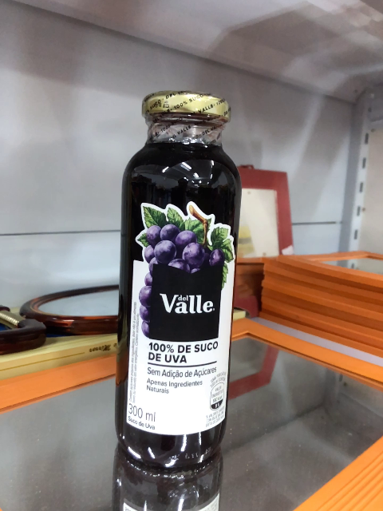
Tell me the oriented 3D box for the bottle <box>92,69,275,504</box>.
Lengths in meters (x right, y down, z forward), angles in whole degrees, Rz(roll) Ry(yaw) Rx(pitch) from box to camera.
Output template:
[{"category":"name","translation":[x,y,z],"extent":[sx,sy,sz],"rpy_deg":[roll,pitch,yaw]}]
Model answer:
[{"category":"bottle","translation":[-0.011,0.016,0.220],"extent":[0.070,0.189,0.060],"rpy_deg":[2,9,-15]}]
